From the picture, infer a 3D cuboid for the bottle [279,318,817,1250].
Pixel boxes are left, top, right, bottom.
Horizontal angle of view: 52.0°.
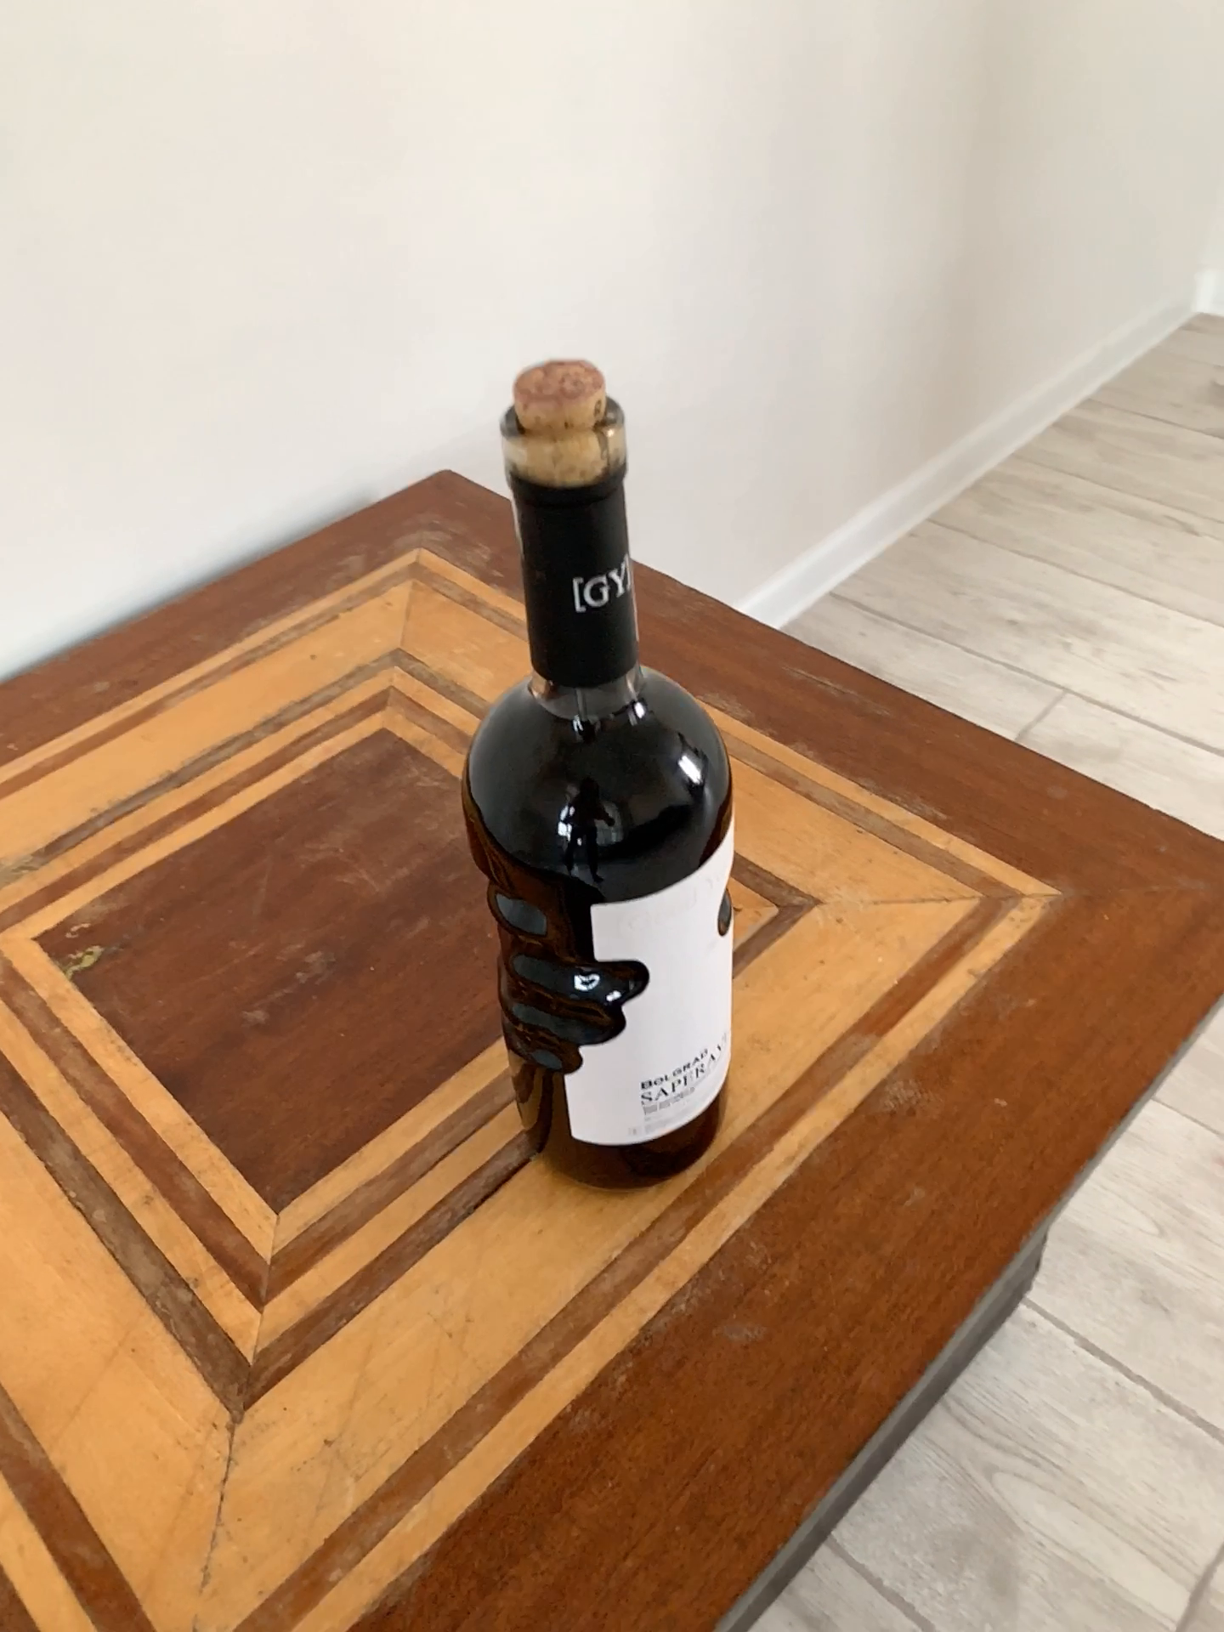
[{"bbox_3d":[-0.007,0.006,0.386,0.090,0.269,0.090,-3,43,3],"label":"bottle"}]
